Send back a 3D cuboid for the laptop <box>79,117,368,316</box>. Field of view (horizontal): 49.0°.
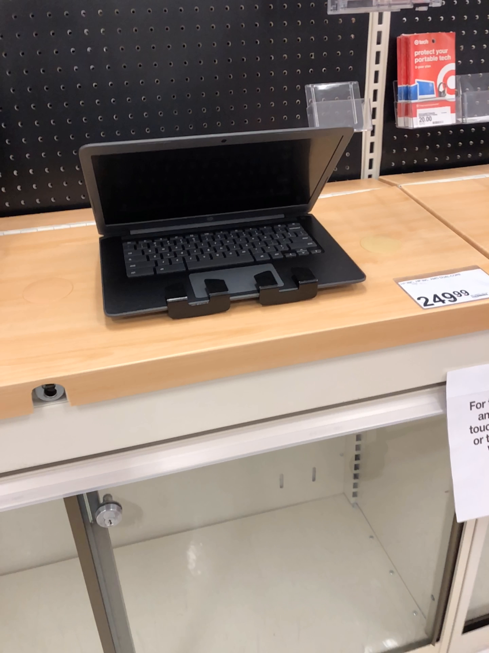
[{"bbox_3d":[-0.035,-0.156,0.689,0.318,0.144,0.201,-9,34,-12],"label":"laptop"}]
